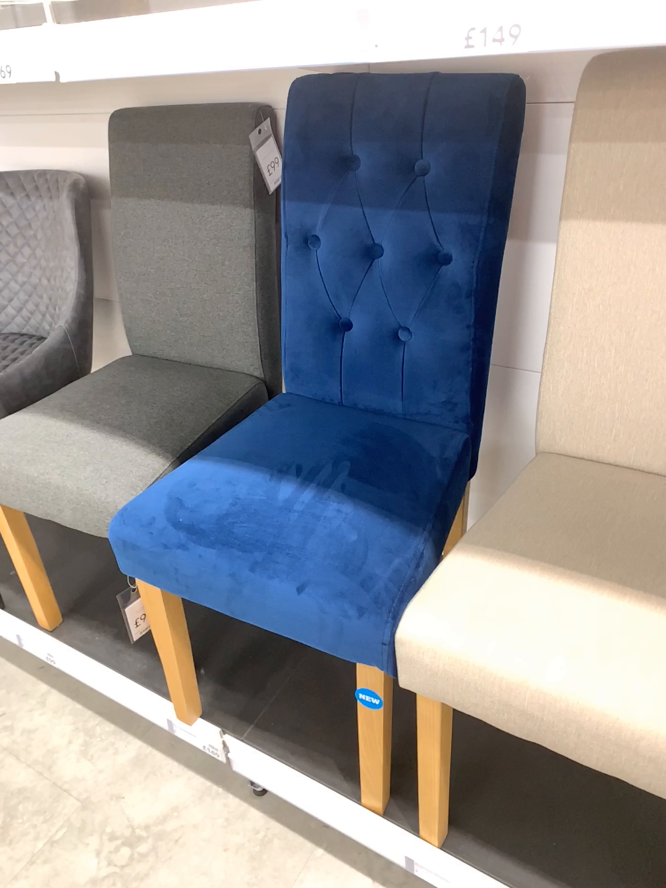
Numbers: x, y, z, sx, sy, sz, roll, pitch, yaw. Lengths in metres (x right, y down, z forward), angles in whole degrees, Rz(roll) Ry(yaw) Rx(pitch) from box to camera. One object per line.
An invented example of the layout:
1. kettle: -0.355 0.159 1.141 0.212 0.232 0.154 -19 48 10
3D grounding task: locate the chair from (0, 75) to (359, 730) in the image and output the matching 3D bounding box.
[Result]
1. chair: -0.333 -0.139 1.350 0.491 1.025 0.671 14 31 29

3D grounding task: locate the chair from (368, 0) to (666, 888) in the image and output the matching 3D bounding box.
1. chair: 0.427 0.048 0.891 0.491 1.035 0.671 14 31 29

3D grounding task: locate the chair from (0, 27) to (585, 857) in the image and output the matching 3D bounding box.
1. chair: 0.020 -0.050 1.129 0.491 1.035 0.671 14 31 29
